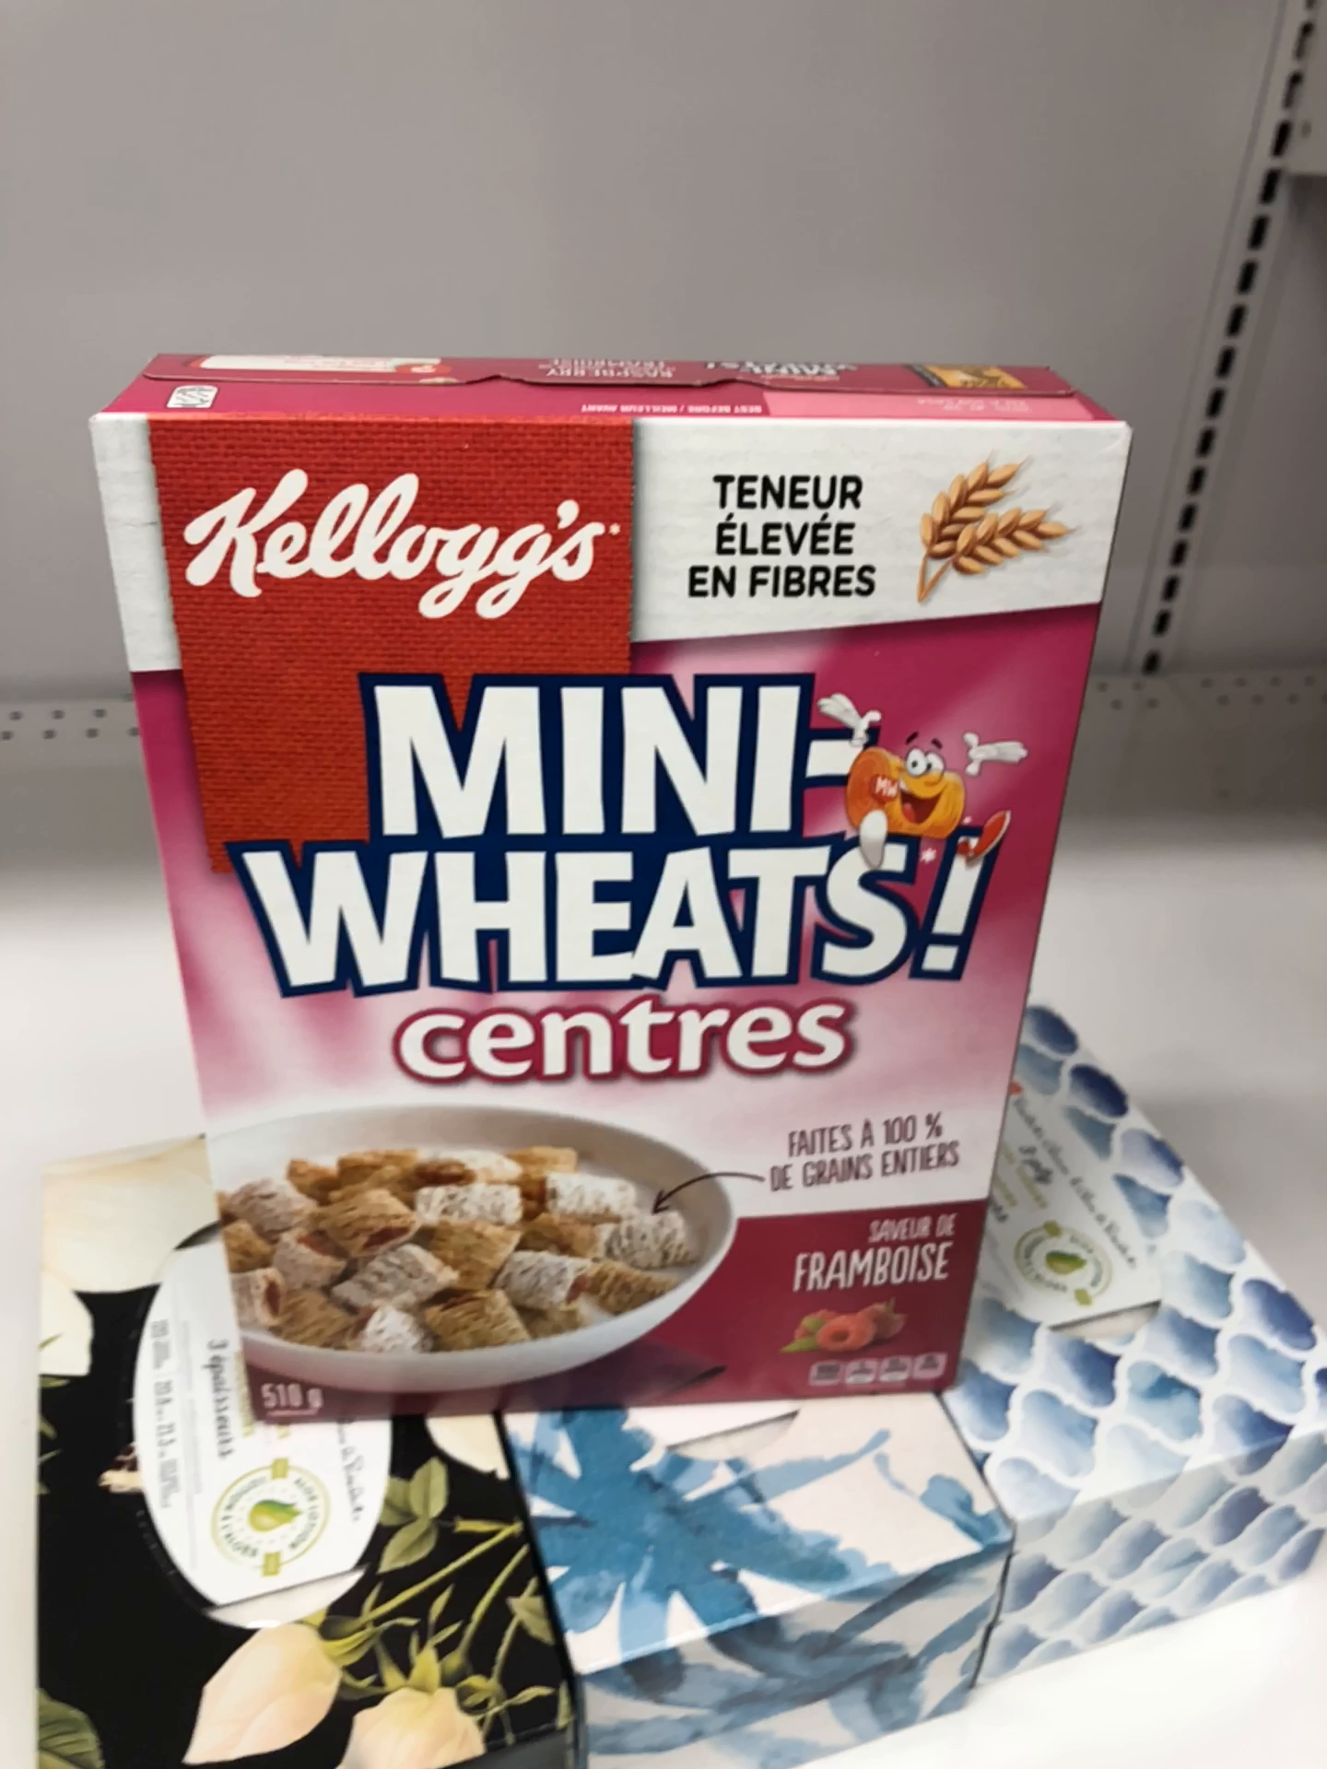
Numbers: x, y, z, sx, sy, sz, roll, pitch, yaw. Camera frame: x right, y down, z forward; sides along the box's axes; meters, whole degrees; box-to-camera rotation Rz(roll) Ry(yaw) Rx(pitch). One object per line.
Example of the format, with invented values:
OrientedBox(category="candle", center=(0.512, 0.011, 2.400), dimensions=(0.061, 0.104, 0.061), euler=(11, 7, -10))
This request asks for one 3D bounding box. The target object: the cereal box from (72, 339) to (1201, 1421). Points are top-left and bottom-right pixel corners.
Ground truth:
OrientedBox(category="cereal box", center=(-0.008, 0.014, 0.365), dimensions=(0.210, 0.269, 0.050), euler=(-1, 30, -5))
